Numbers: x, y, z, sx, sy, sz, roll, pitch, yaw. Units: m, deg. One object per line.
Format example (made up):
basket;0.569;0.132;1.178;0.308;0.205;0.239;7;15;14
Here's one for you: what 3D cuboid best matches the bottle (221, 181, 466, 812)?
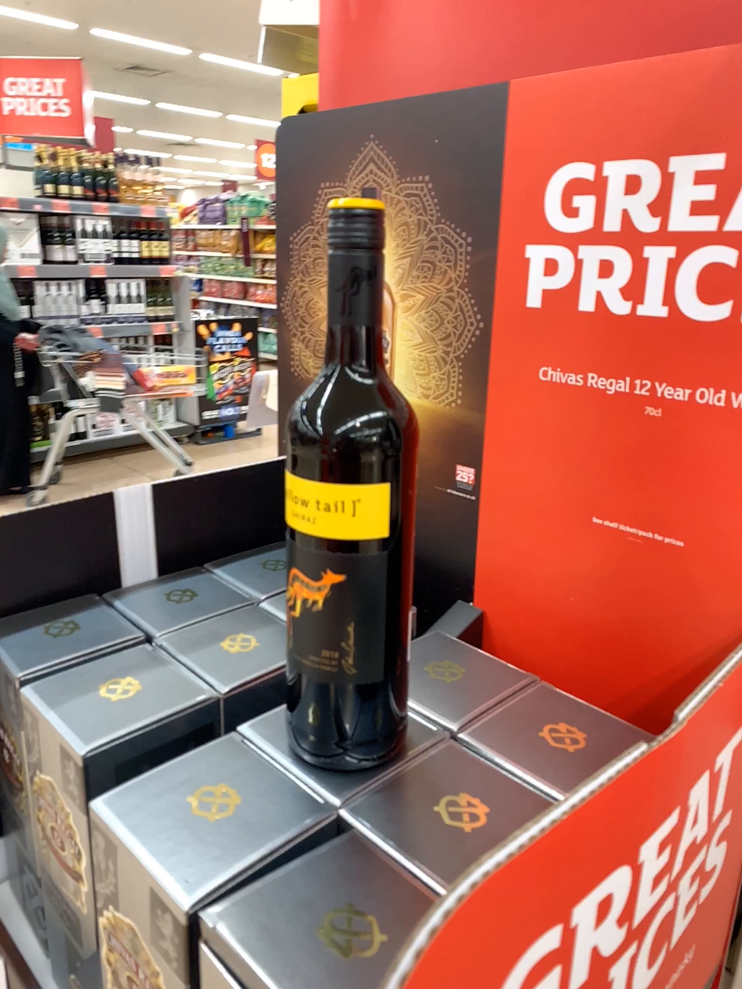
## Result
bottle;-0.017;0.001;0.409;0.087;0.308;0.081;2;17;0
